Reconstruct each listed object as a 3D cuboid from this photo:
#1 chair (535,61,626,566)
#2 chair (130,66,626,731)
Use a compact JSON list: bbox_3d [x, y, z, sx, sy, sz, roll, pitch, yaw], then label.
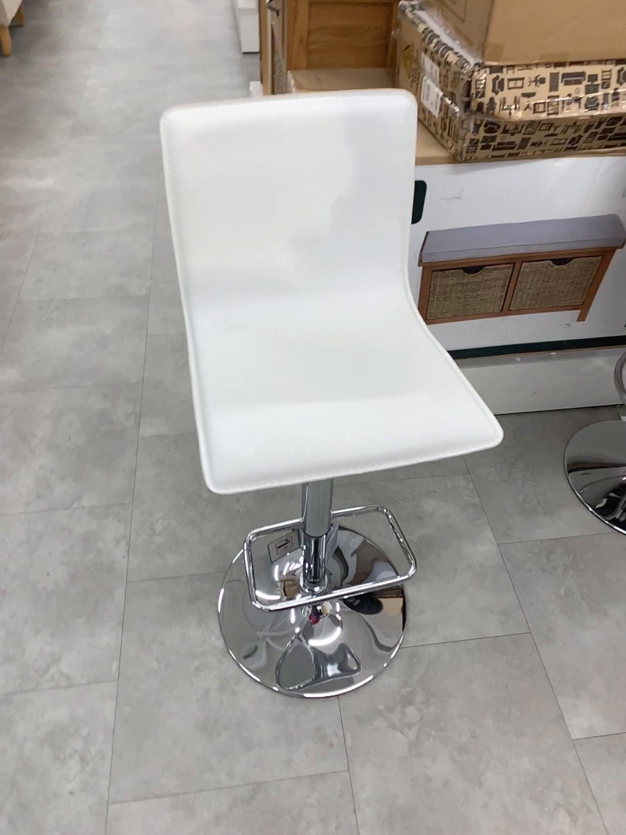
[{"bbox_3d":[0.898,-0.158,1.312,0.469,0.910,0.446,-6,47,-8],"label":"chair"},{"bbox_3d":[0.033,0.056,1.029,0.459,0.990,0.446,-8,47,-10],"label":"chair"}]
